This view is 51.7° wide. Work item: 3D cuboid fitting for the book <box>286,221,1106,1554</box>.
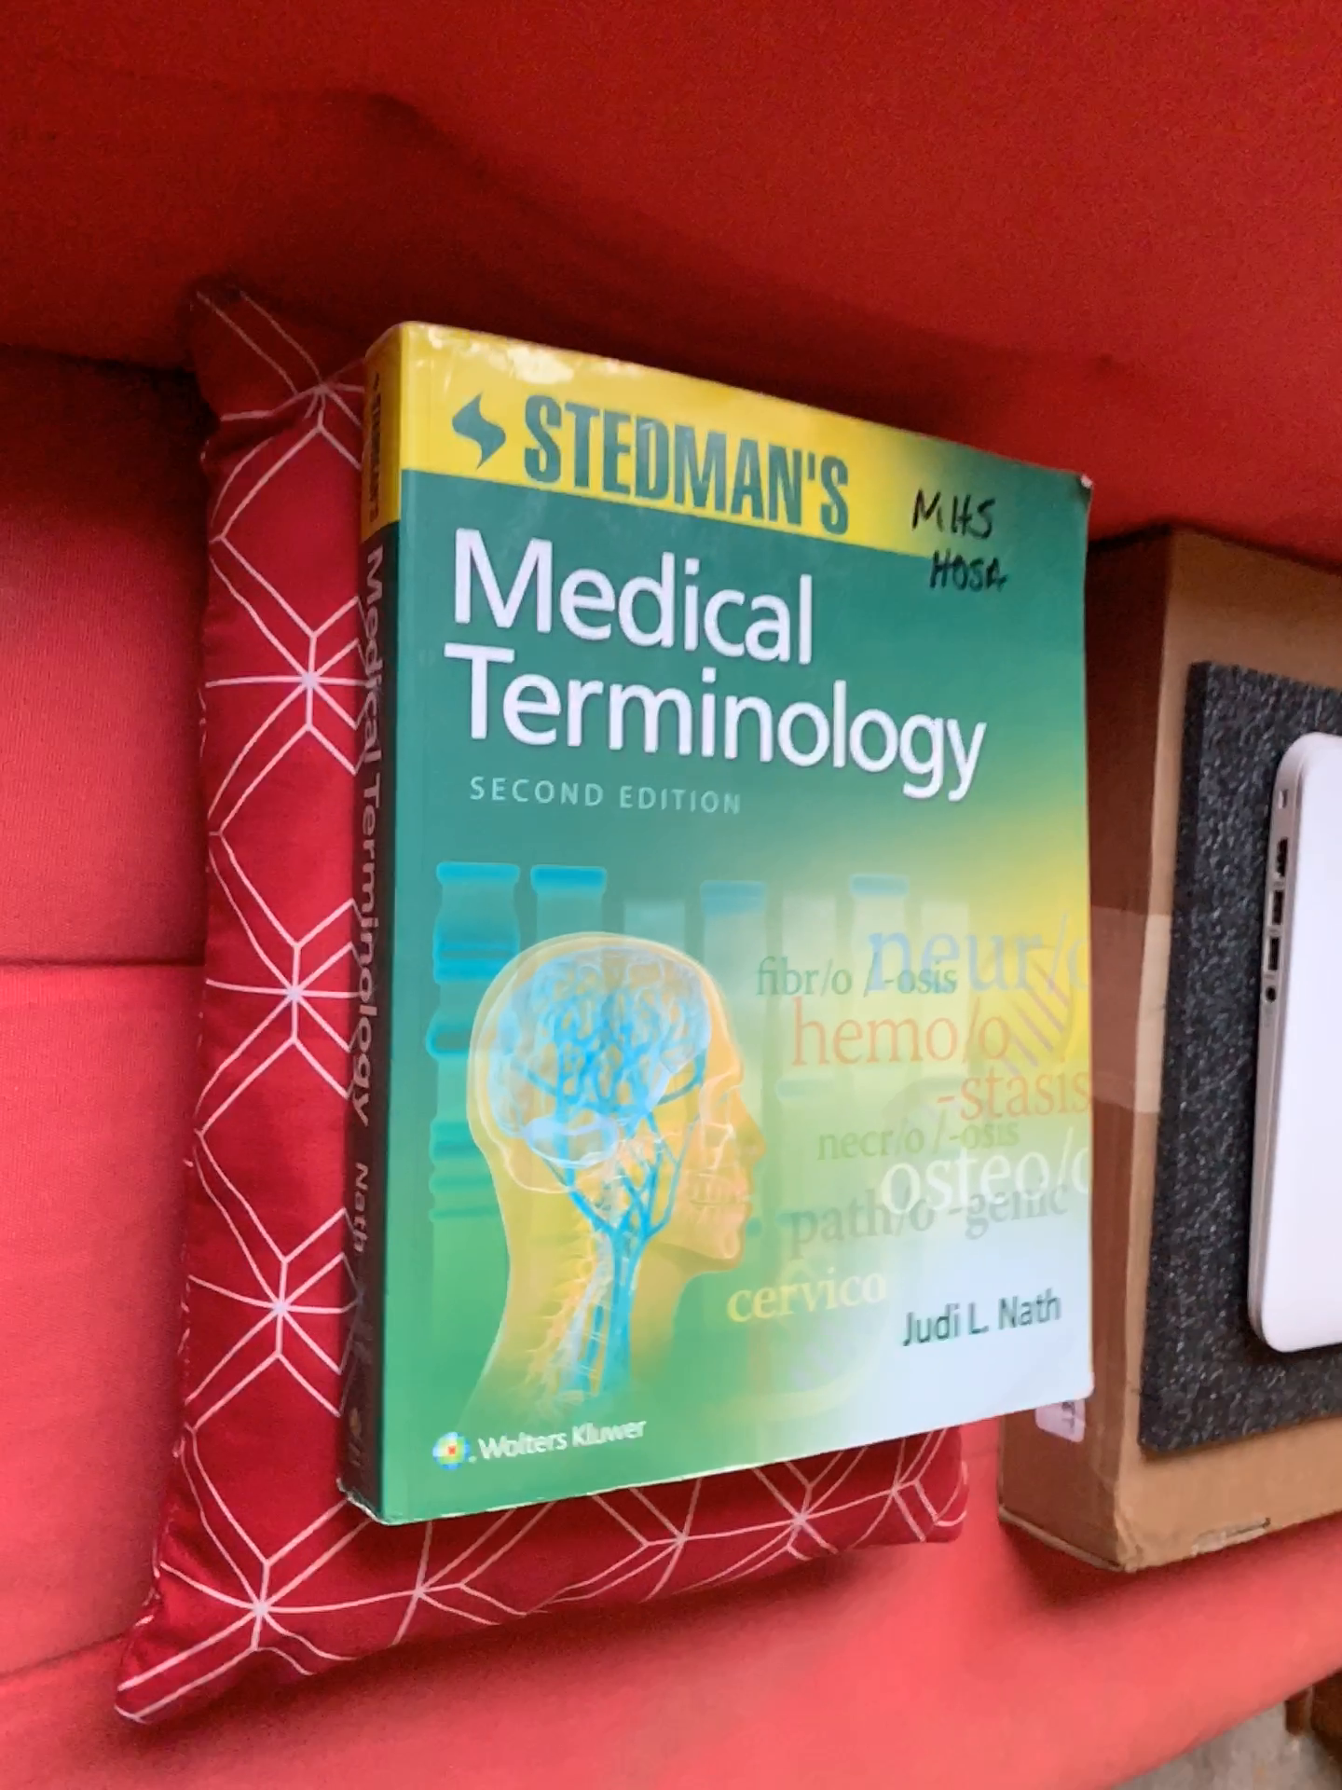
[{"bbox_3d":[0.021,0.001,0.391,0.241,0.040,0.300,2,89,-31],"label":"book"}]
